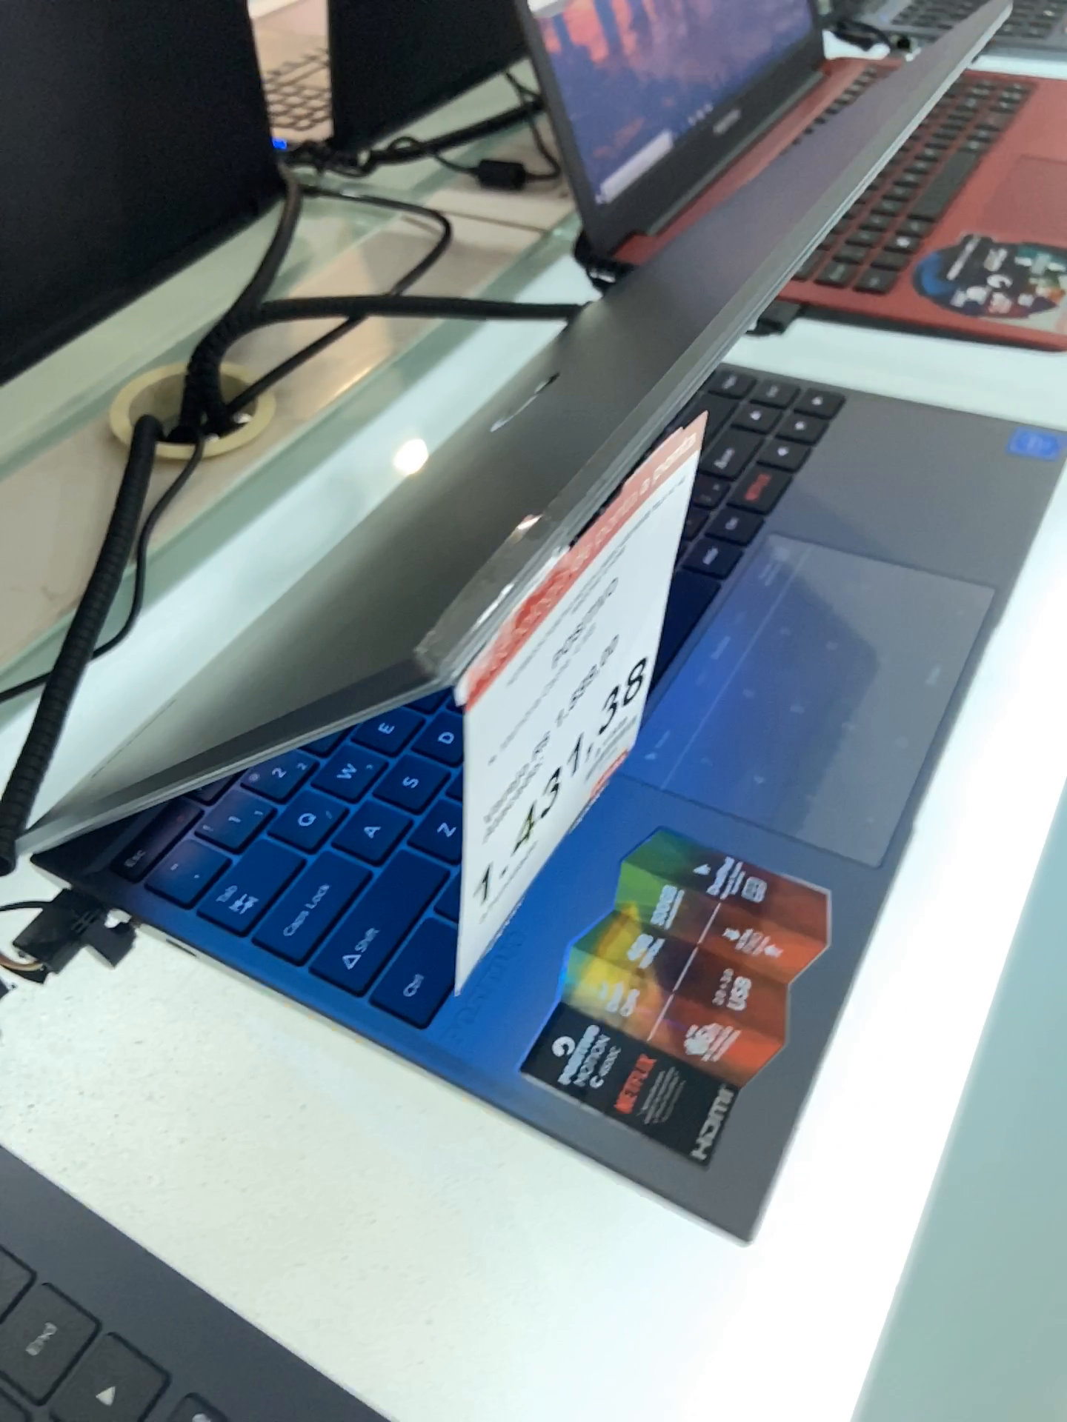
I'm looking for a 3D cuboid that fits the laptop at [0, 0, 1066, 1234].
[{"bbox_3d":[0.026,-0.080,0.316,0.211,0.139,0.329,20,50,22],"label":"laptop"}]
